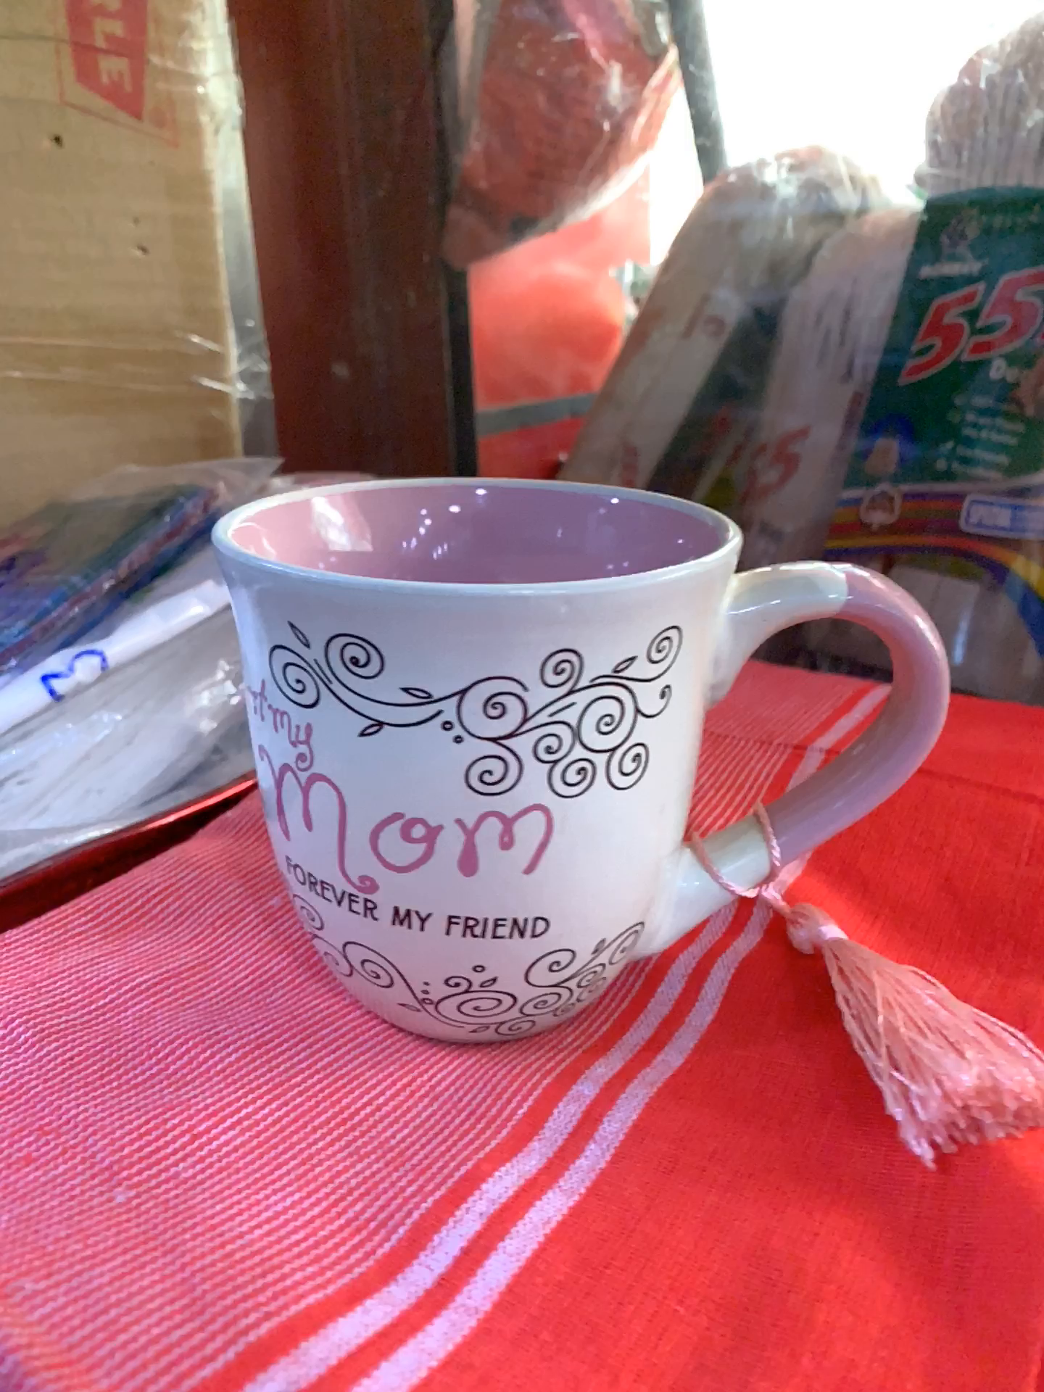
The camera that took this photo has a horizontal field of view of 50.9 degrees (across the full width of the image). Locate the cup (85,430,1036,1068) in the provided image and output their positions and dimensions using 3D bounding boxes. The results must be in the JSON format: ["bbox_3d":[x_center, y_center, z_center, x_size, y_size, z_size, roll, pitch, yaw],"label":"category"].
[{"bbox_3d":[0.004,0.000,0.196,0.125,0.075,0.086,-4,22,-6],"label":"cup"}]
